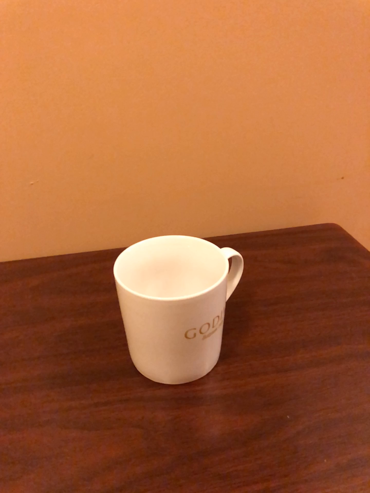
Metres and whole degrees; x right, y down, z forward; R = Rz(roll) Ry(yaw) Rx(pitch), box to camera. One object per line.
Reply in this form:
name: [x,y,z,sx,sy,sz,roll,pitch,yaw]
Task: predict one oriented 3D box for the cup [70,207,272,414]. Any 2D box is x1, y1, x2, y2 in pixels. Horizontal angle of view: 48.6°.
cup: [-0.006,0.046,0.389,0.110,0.099,0.150,20,36,33]
